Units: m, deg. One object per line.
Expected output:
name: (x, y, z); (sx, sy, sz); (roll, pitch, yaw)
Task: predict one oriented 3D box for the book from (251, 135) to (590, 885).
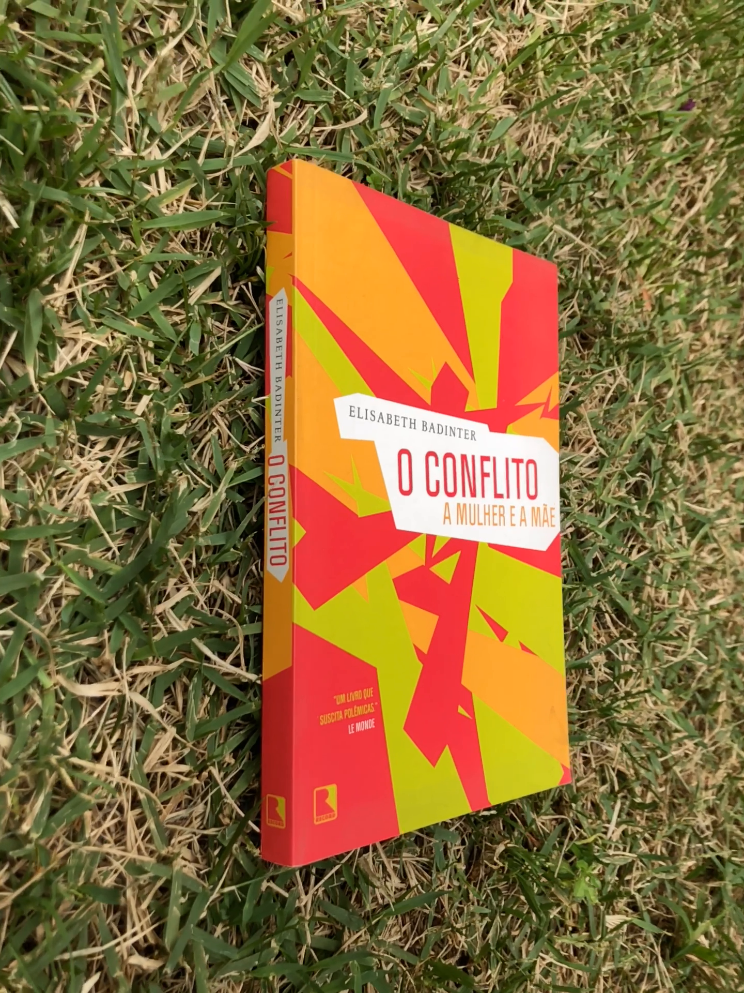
book: (0.023, 0.004, 0.271); (0.131, 0.020, 0.200); (5, 82, -41)
